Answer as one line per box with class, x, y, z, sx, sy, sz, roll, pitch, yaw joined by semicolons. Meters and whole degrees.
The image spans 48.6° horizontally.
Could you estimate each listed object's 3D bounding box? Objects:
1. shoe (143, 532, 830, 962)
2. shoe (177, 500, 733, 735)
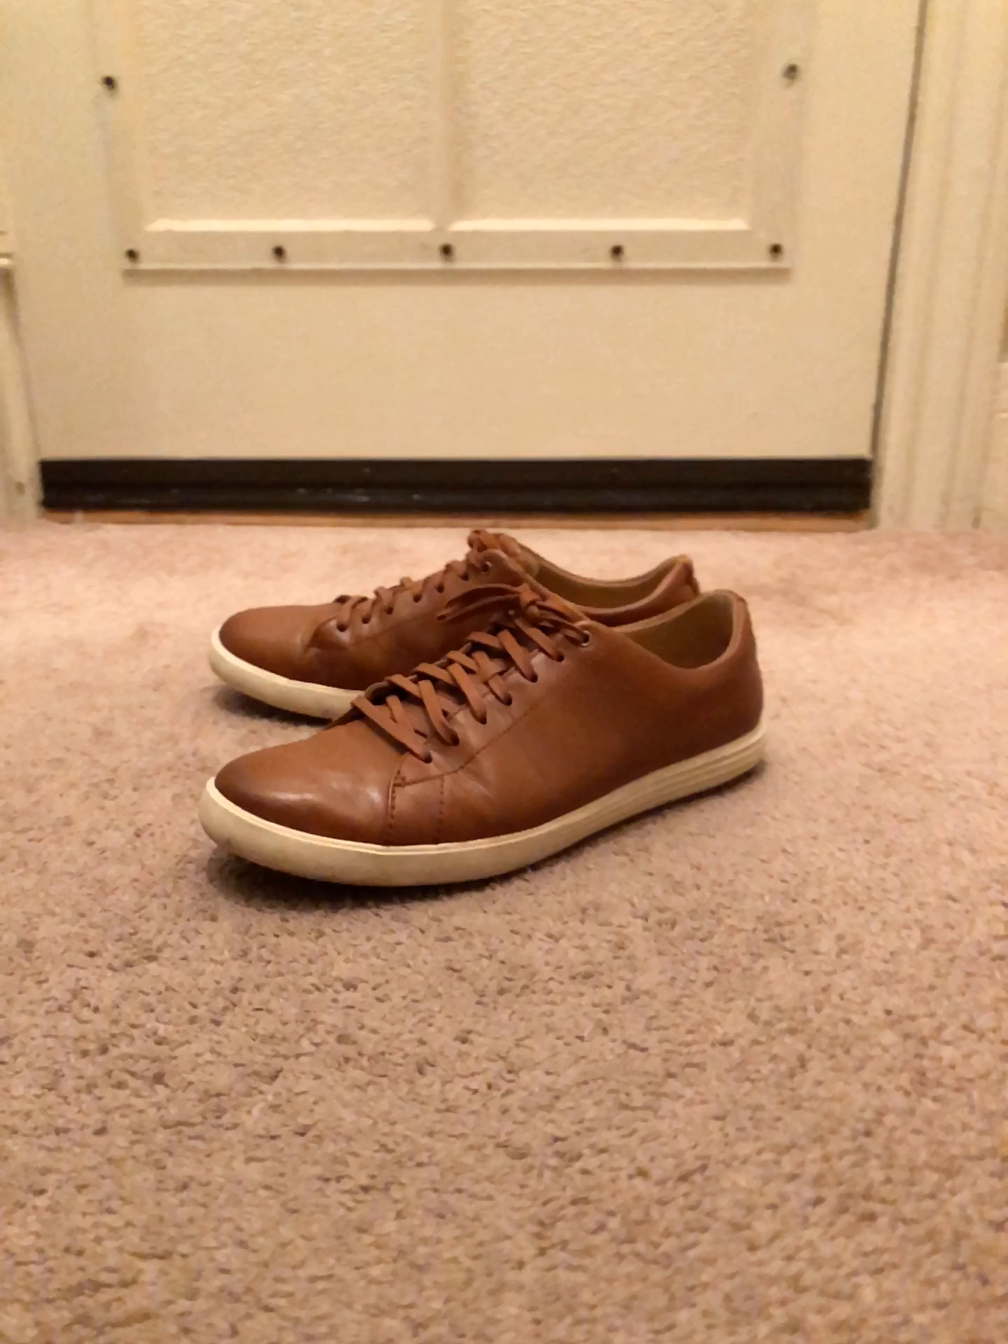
shoe;0.000;0.015;0.512;0.286;0.100;0.117;-13;24;-30
shoe;-0.025;-0.035;0.645;0.285;0.102;0.118;0;21;0
